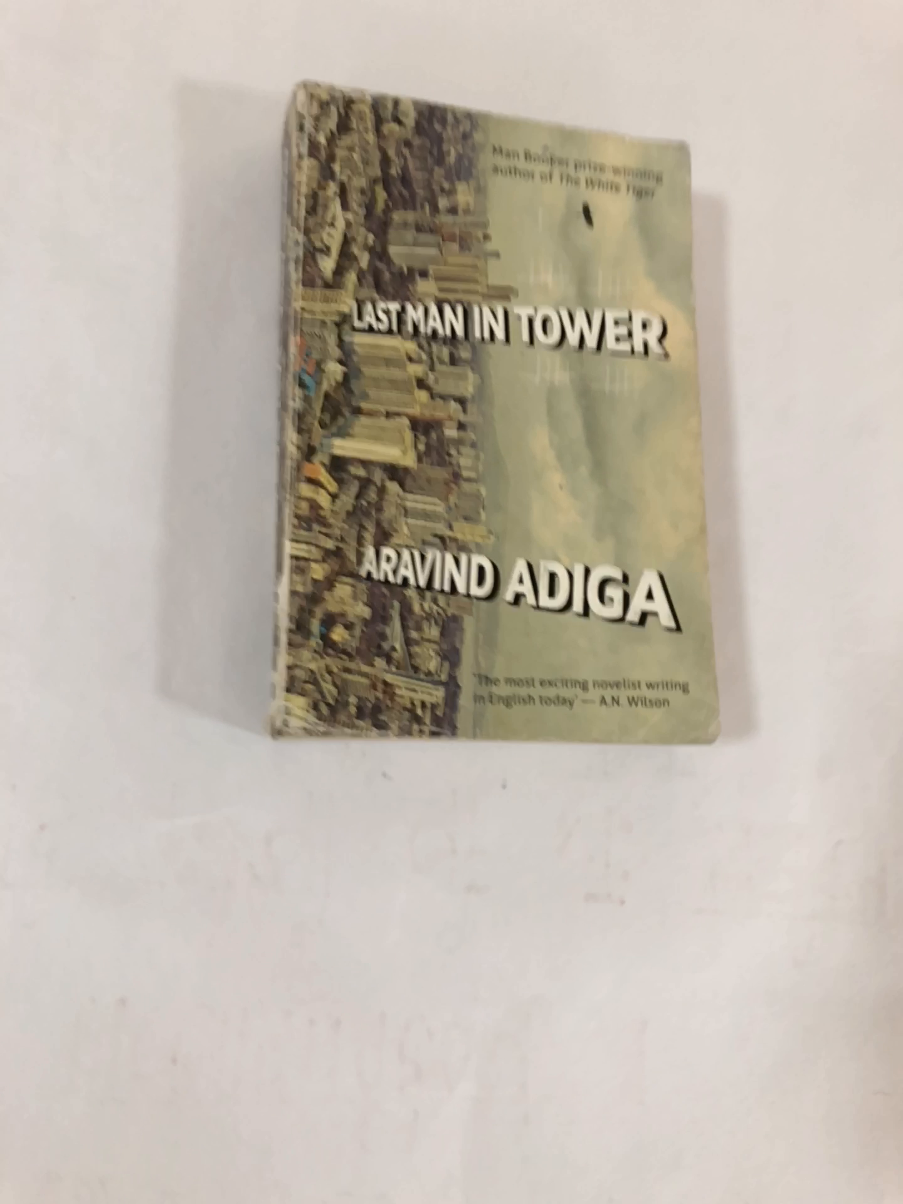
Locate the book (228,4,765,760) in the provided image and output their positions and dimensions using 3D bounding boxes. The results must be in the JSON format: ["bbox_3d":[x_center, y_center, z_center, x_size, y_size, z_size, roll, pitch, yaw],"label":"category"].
[{"bbox_3d":[0.011,-0.064,0.310,0.150,0.030,0.220,2,78,-14],"label":"book"}]
